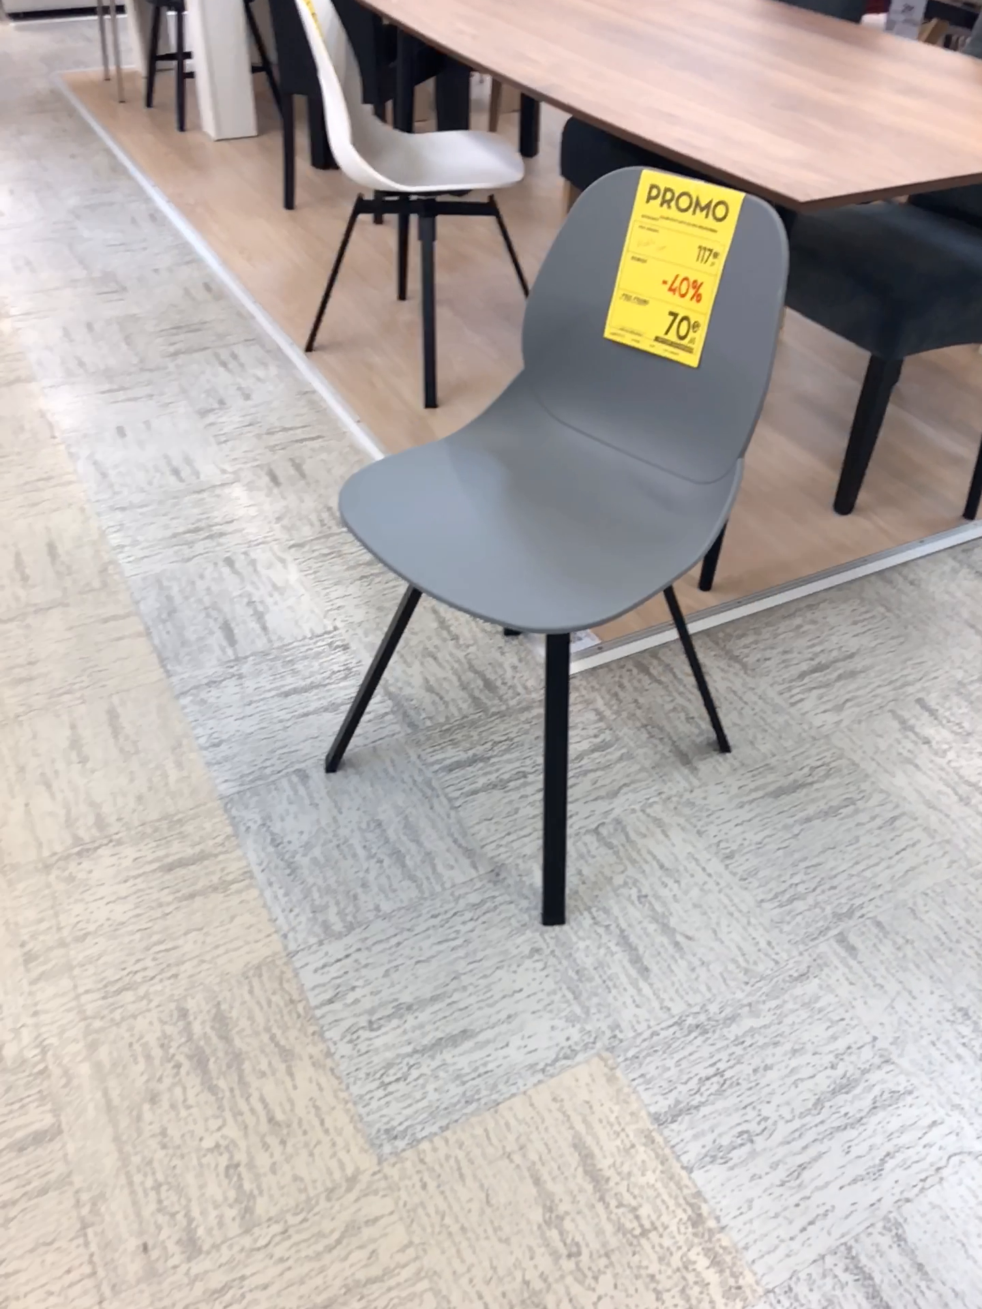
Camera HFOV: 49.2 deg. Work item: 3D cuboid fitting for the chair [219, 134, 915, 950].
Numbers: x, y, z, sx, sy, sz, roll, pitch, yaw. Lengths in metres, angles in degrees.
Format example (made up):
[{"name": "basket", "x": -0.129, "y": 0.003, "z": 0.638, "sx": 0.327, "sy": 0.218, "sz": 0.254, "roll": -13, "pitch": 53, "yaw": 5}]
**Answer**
[{"name": "chair", "x": 0.092, "y": -0.169, "z": 1.400, "sx": 0.510, "sy": 0.755, "sz": 0.584, "roll": 28, "pitch": 46, "yaw": 28}]
